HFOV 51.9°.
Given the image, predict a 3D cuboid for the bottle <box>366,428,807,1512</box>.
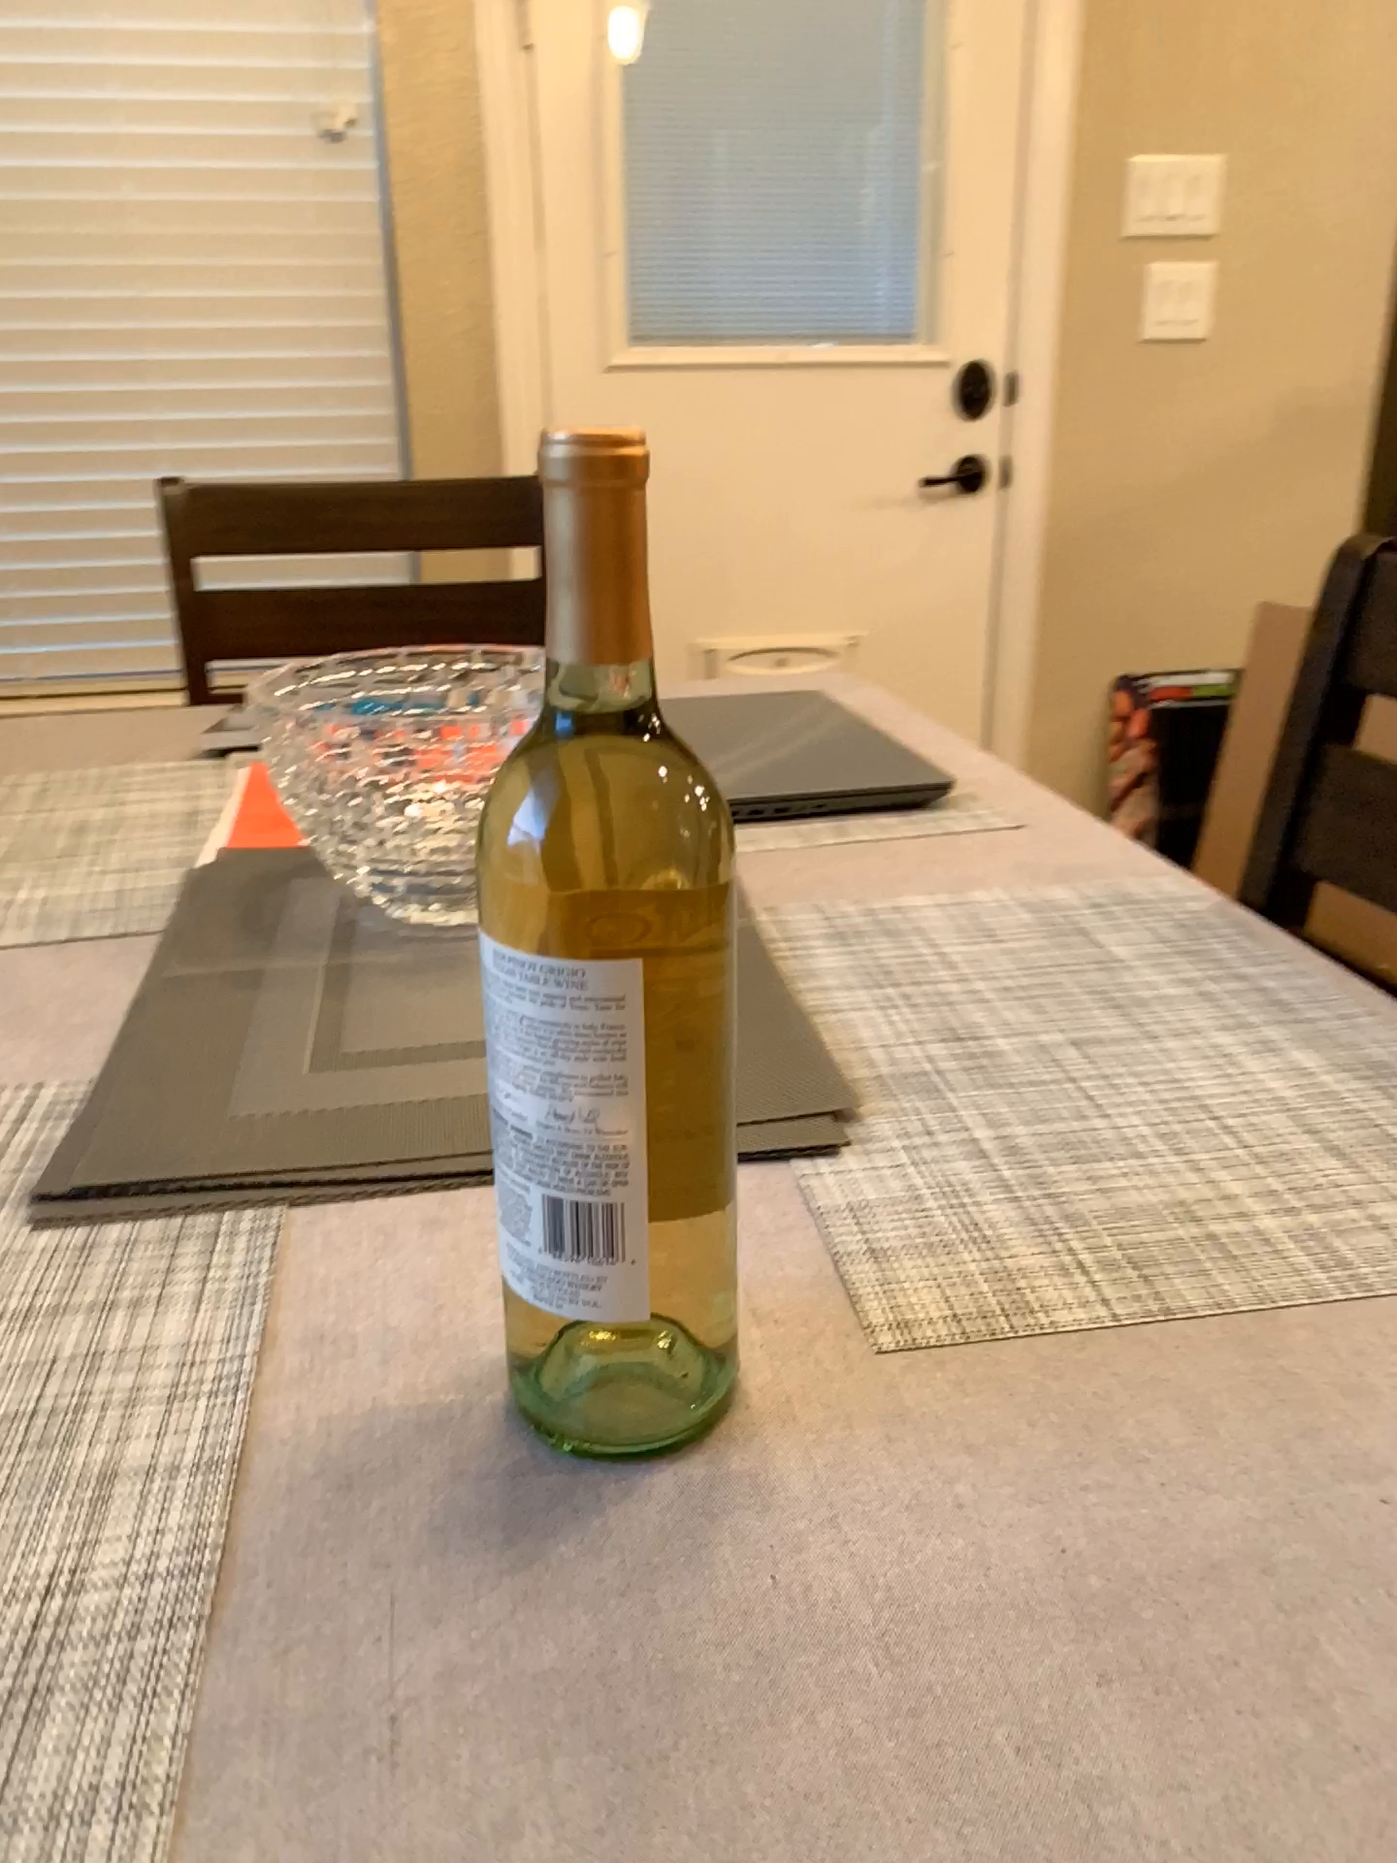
[{"bbox_3d":[-0.025,0.011,0.423,0.083,0.299,0.080,-1,20,0],"label":"bottle"}]
